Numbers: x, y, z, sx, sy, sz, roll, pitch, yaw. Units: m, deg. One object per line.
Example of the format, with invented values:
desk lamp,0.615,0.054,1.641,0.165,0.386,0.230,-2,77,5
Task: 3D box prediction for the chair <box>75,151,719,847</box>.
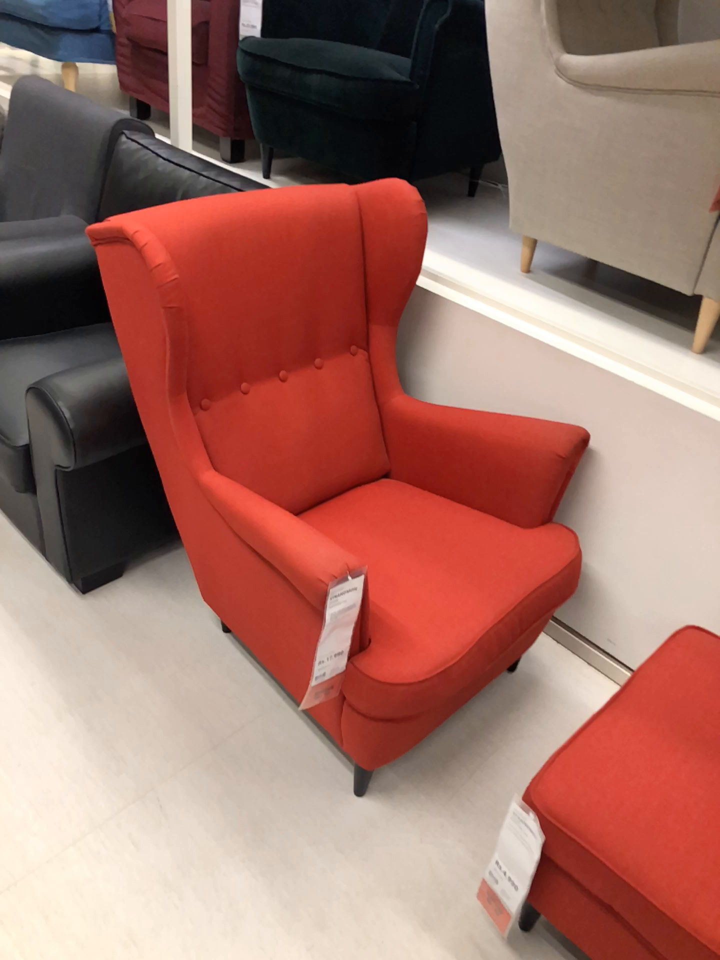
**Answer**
chair,0.058,-0.065,1.706,0.843,0.973,0.903,33,42,32
